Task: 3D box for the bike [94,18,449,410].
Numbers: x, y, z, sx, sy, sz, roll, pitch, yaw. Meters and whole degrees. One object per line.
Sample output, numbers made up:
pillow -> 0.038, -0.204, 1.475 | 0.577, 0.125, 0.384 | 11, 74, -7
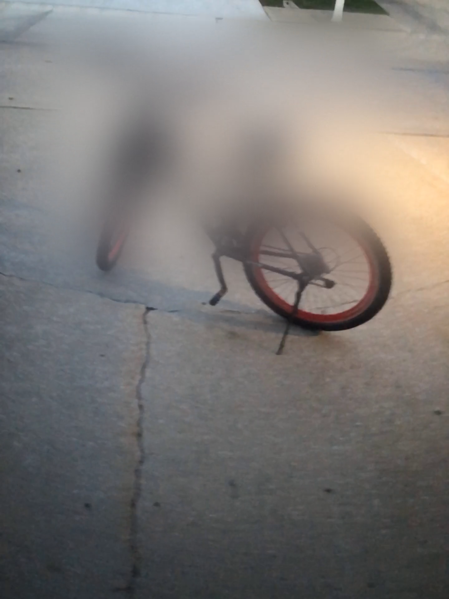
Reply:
bike -> 0.112, -0.479, 2.138 | 1.426, 1.031, 0.599 | 30, 42, 28
